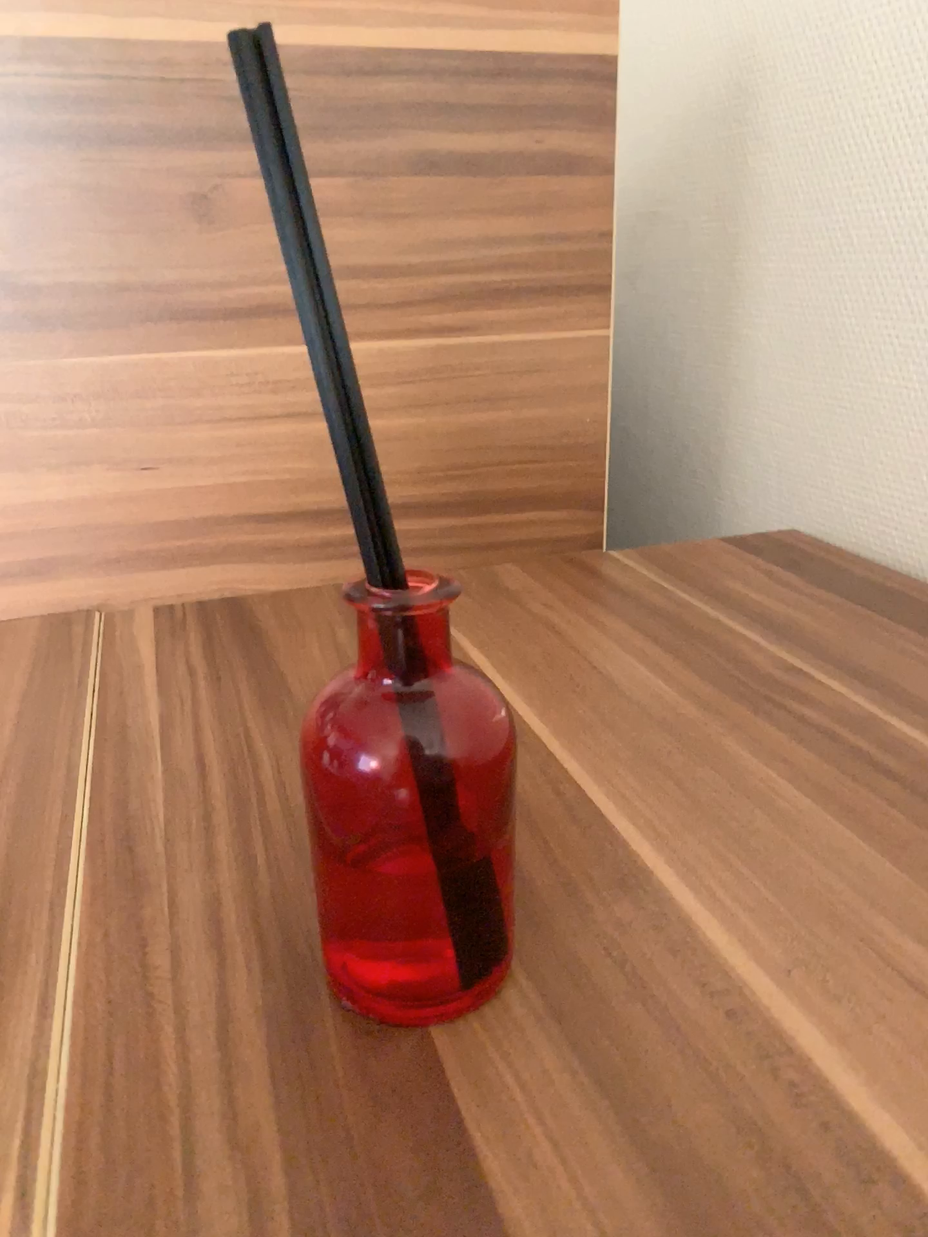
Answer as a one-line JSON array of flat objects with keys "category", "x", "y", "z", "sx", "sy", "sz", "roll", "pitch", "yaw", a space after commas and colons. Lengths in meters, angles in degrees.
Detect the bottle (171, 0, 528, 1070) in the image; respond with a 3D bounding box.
[{"category": "bottle", "x": -0.021, "y": -0.011, "z": 0.227, "sx": 0.060, "sy": 0.239, "sz": 0.050, "roll": -6, "pitch": 21, "yaw": -12}]
